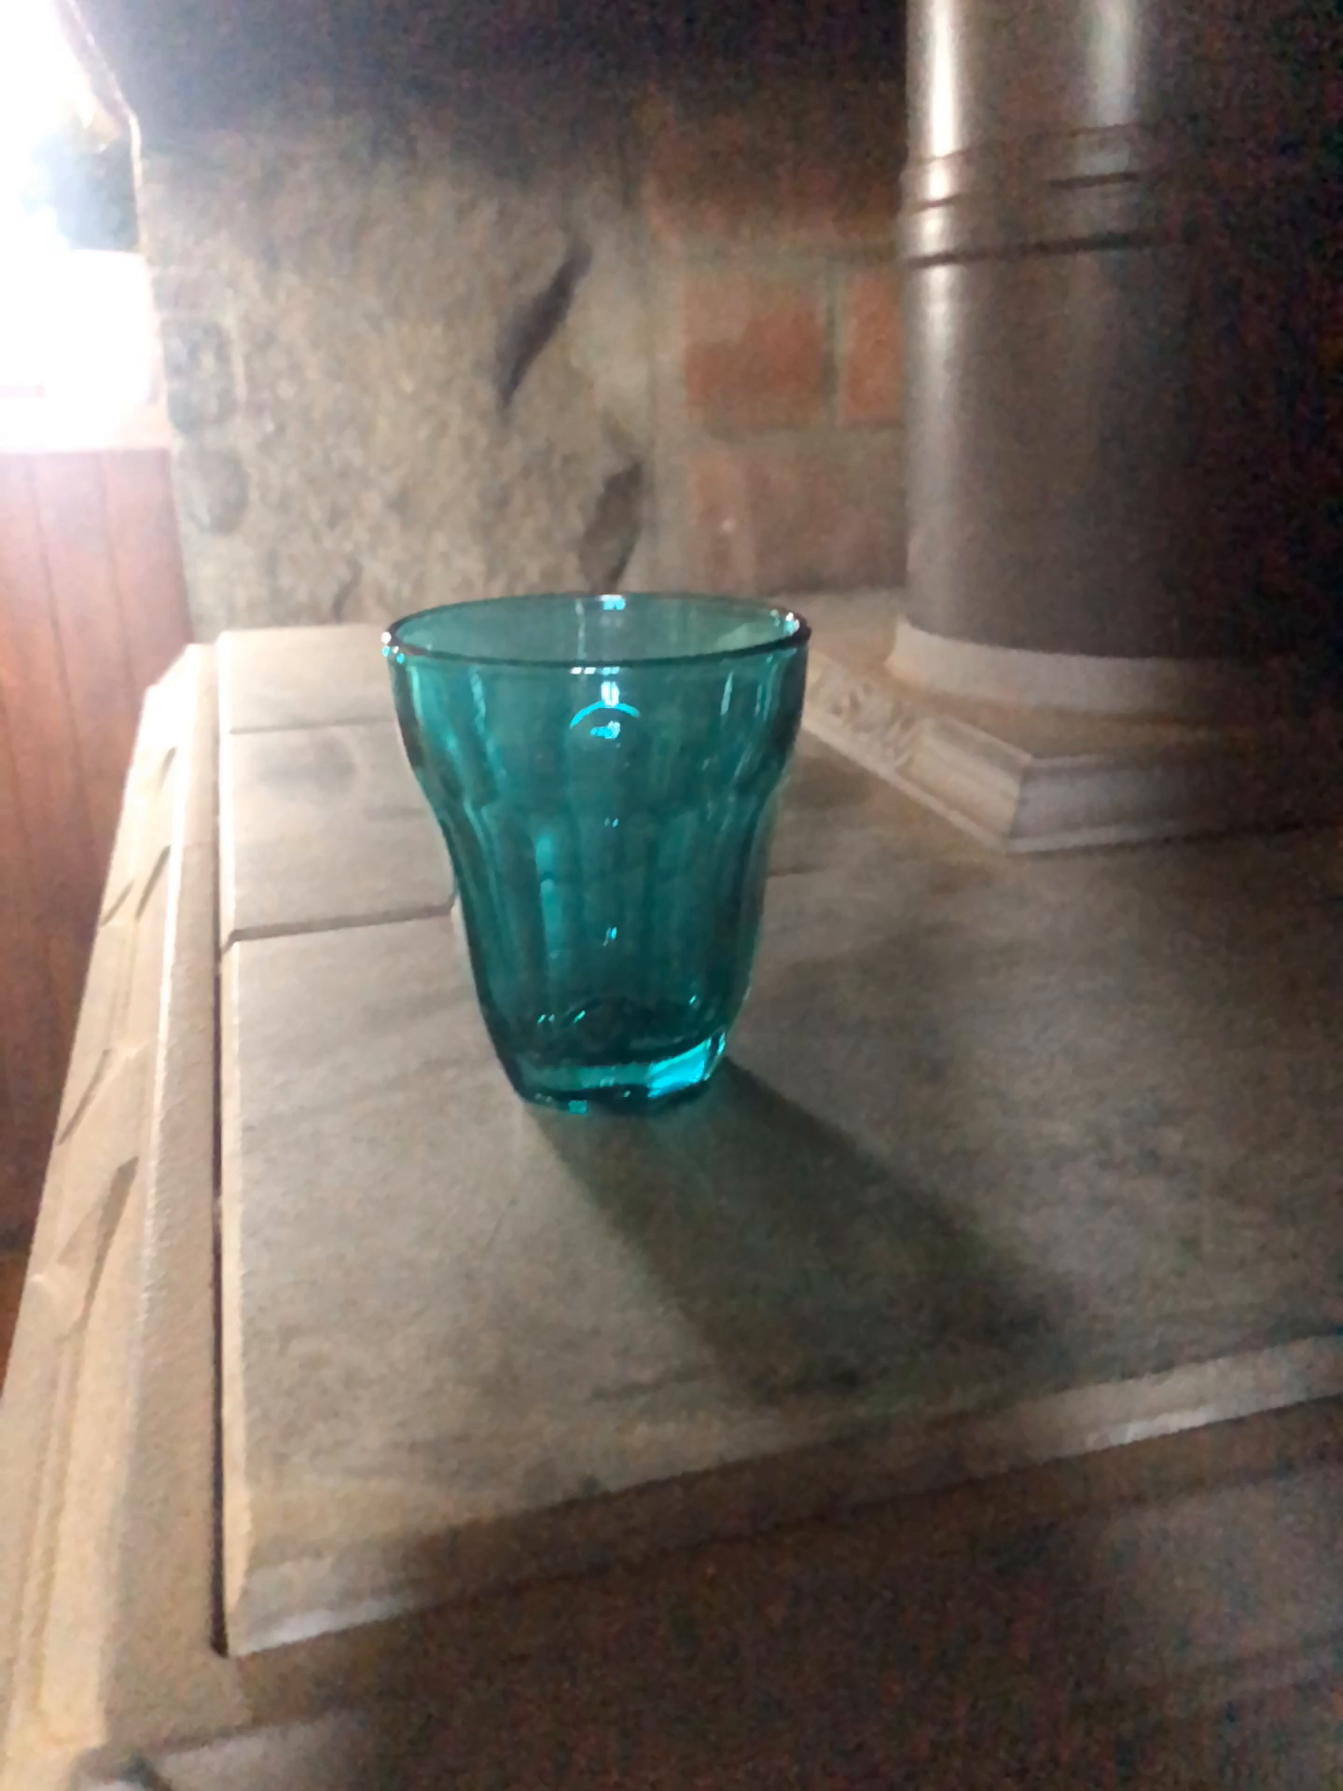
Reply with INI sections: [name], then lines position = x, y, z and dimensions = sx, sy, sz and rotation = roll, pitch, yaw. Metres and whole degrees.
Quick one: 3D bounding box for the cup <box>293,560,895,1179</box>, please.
[cup]
position = -0.011, -0.012, 0.258
dimensions = 0.070, 0.080, 0.070
rotation = -2, 19, 1
